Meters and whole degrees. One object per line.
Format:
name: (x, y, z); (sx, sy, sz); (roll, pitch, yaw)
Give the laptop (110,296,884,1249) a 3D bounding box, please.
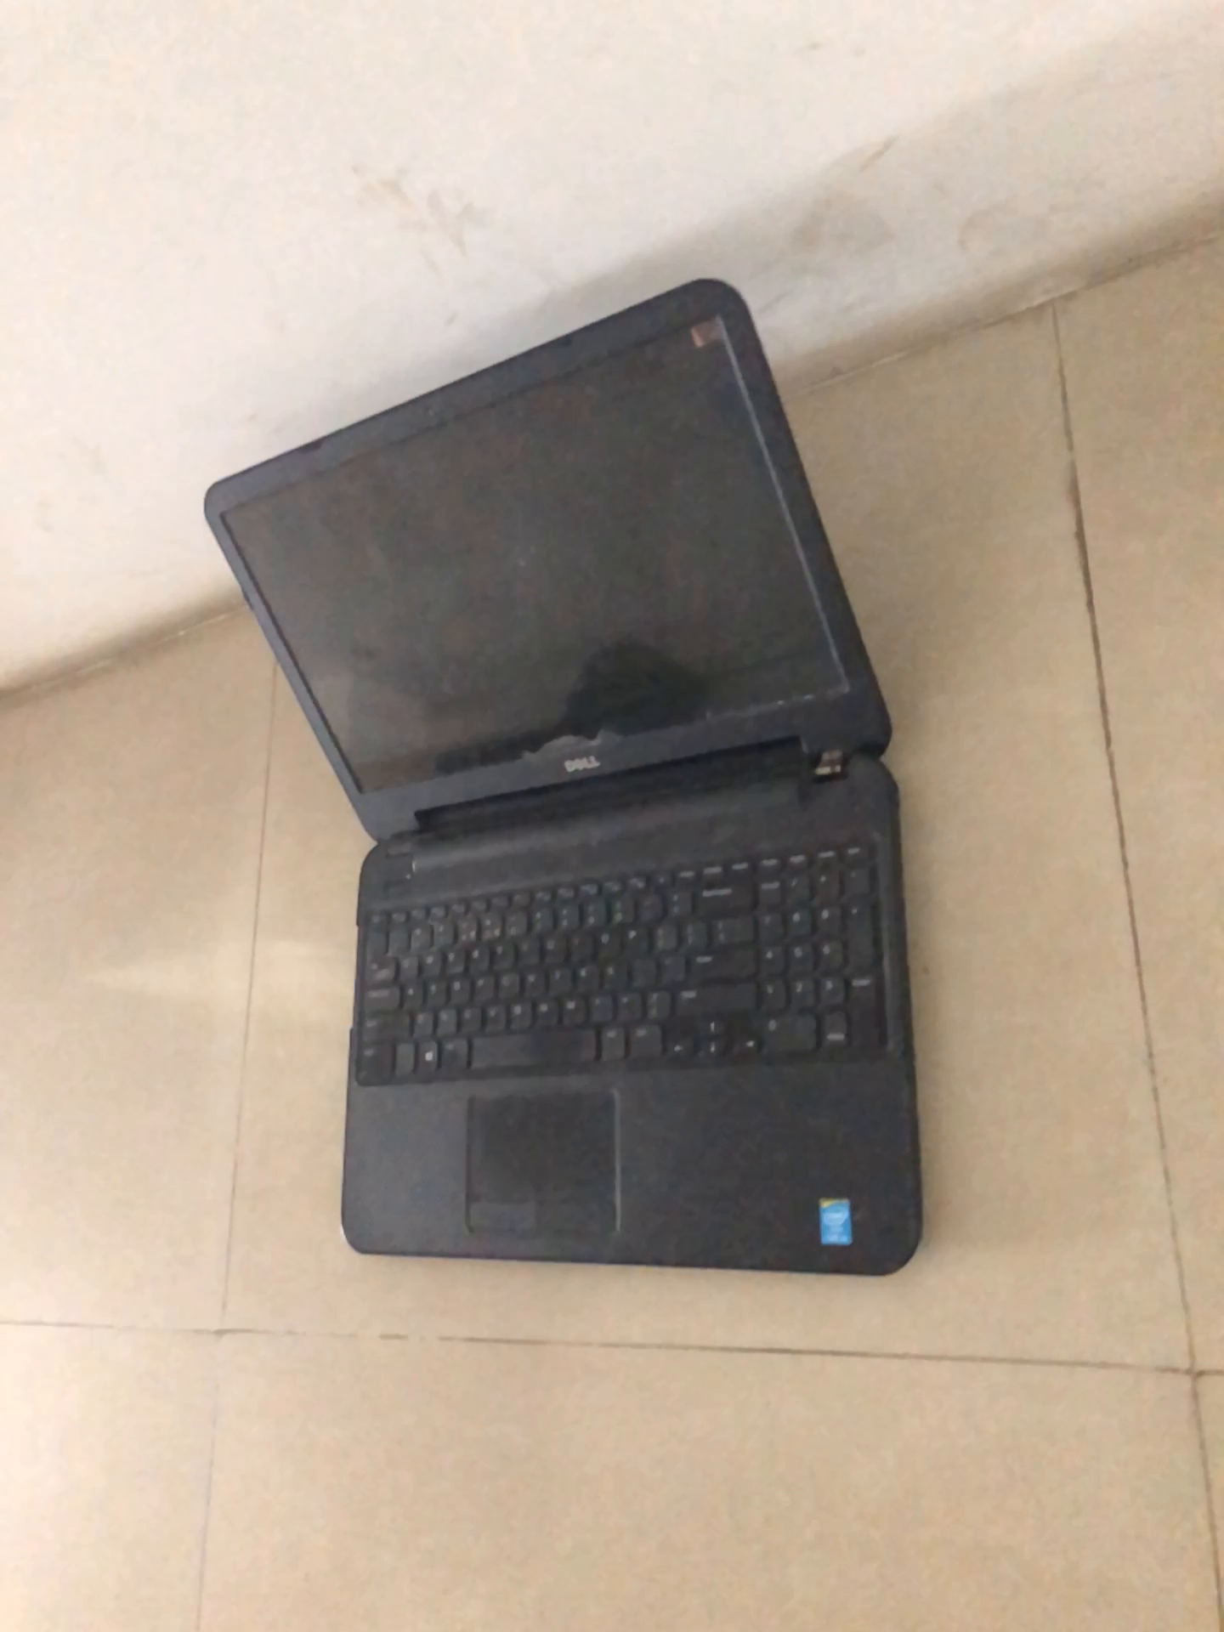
laptop: (-0.056, 0.004, 0.691); (0.322, 0.166, 0.409); (-10, 69, 32)
